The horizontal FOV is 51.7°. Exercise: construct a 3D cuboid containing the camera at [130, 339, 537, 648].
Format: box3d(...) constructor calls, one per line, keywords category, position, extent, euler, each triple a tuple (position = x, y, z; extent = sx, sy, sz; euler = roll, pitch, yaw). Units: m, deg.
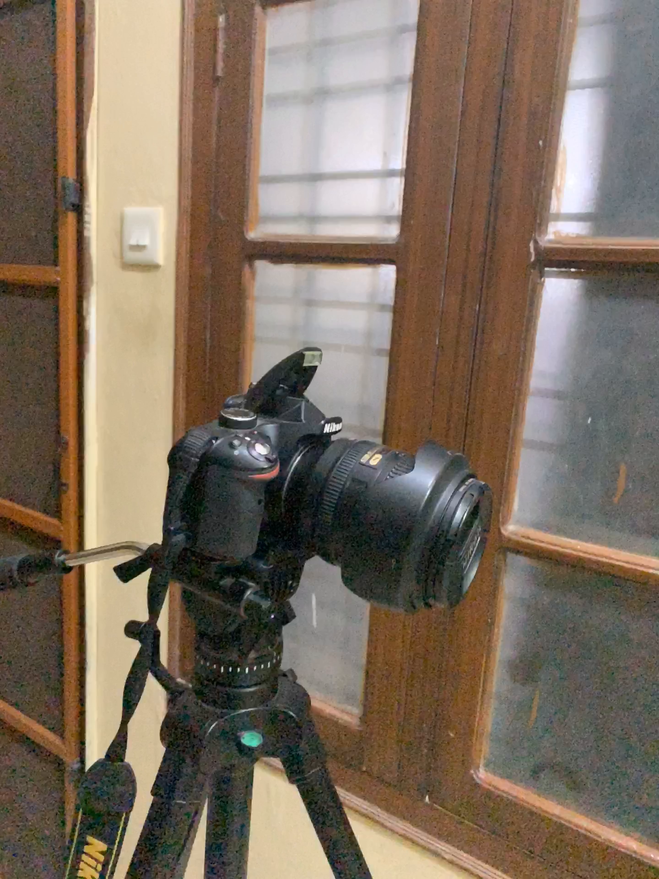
box3d(category="camera", position=(0.004, 0.011, 0.428), extent=(0.200, 0.129, 0.150), euler=(10, 13, 29))
